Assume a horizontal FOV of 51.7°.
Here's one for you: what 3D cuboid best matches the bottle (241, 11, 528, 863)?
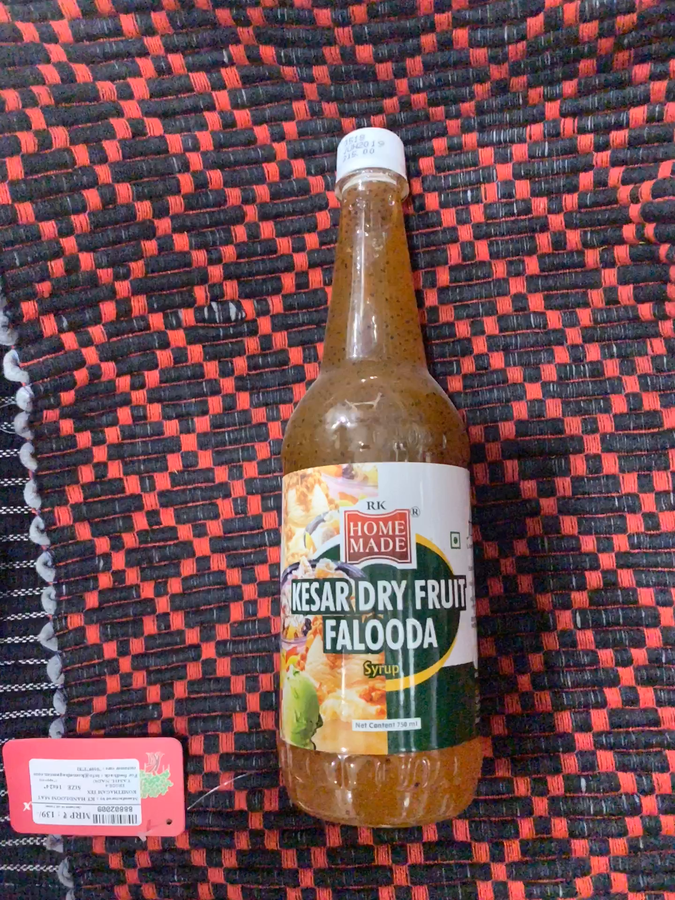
[{"bbox_3d":[0.015,-0.010,0.249,0.080,0.070,0.260,-2,80,9],"label":"bottle"}]
